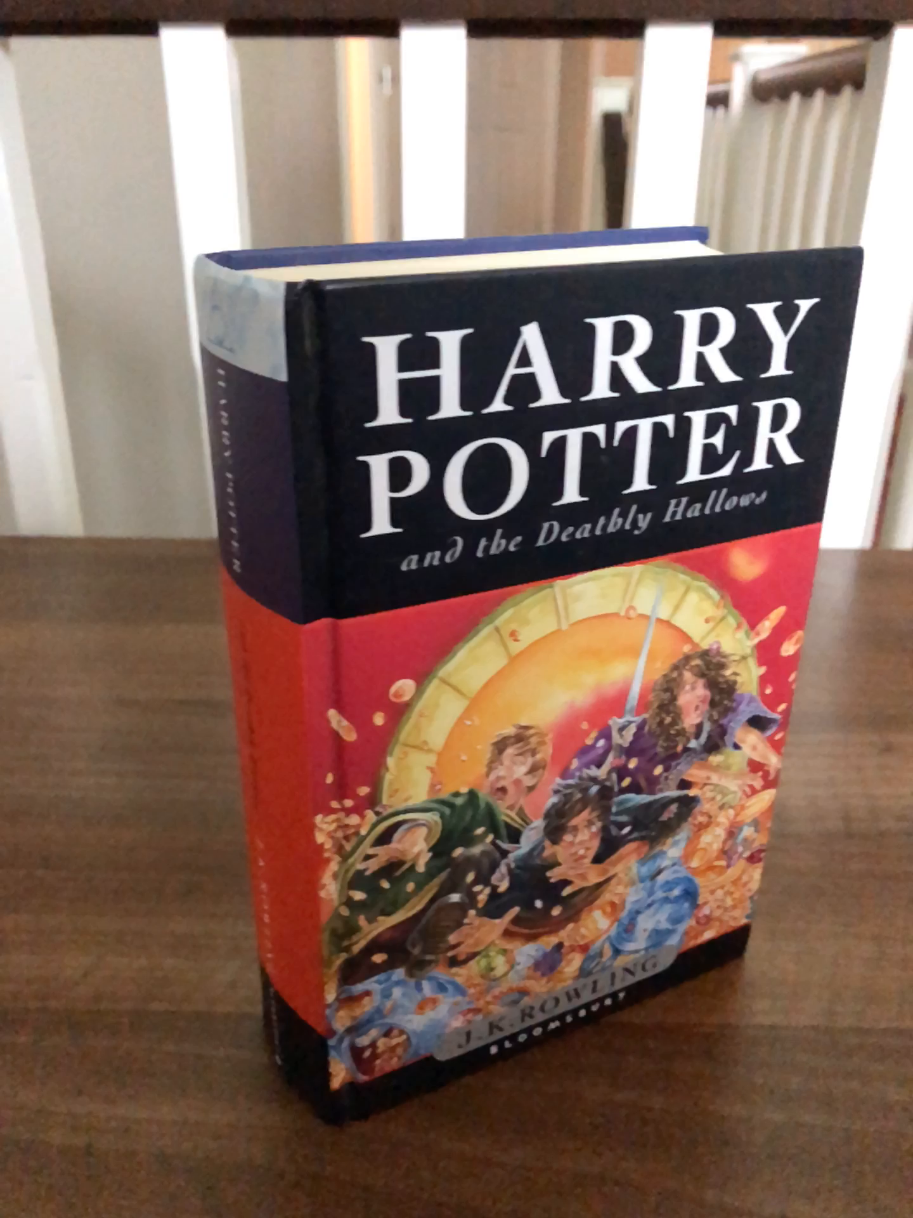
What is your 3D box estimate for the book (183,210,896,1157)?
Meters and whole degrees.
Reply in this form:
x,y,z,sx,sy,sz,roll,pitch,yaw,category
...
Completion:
x,y,z,sx,sy,sz,roll,pitch,yaw,category
0.018,0.014,0.258,0.140,0.209,0.060,-11,26,-24,book
